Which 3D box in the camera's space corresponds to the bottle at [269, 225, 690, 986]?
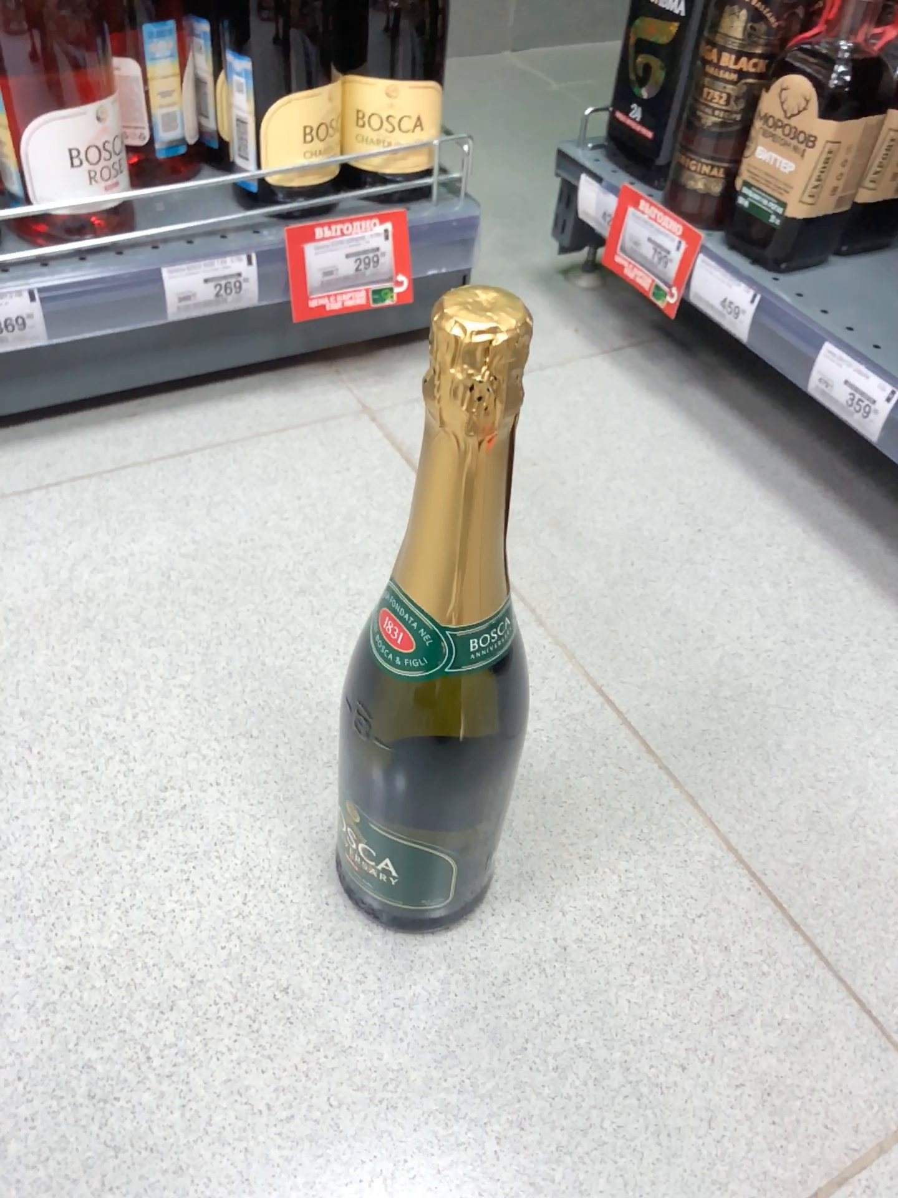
[{"bbox_3d":[-0.007,0.027,0.402,0.090,0.314,0.090,4,44,-4],"label":"bottle"}]
